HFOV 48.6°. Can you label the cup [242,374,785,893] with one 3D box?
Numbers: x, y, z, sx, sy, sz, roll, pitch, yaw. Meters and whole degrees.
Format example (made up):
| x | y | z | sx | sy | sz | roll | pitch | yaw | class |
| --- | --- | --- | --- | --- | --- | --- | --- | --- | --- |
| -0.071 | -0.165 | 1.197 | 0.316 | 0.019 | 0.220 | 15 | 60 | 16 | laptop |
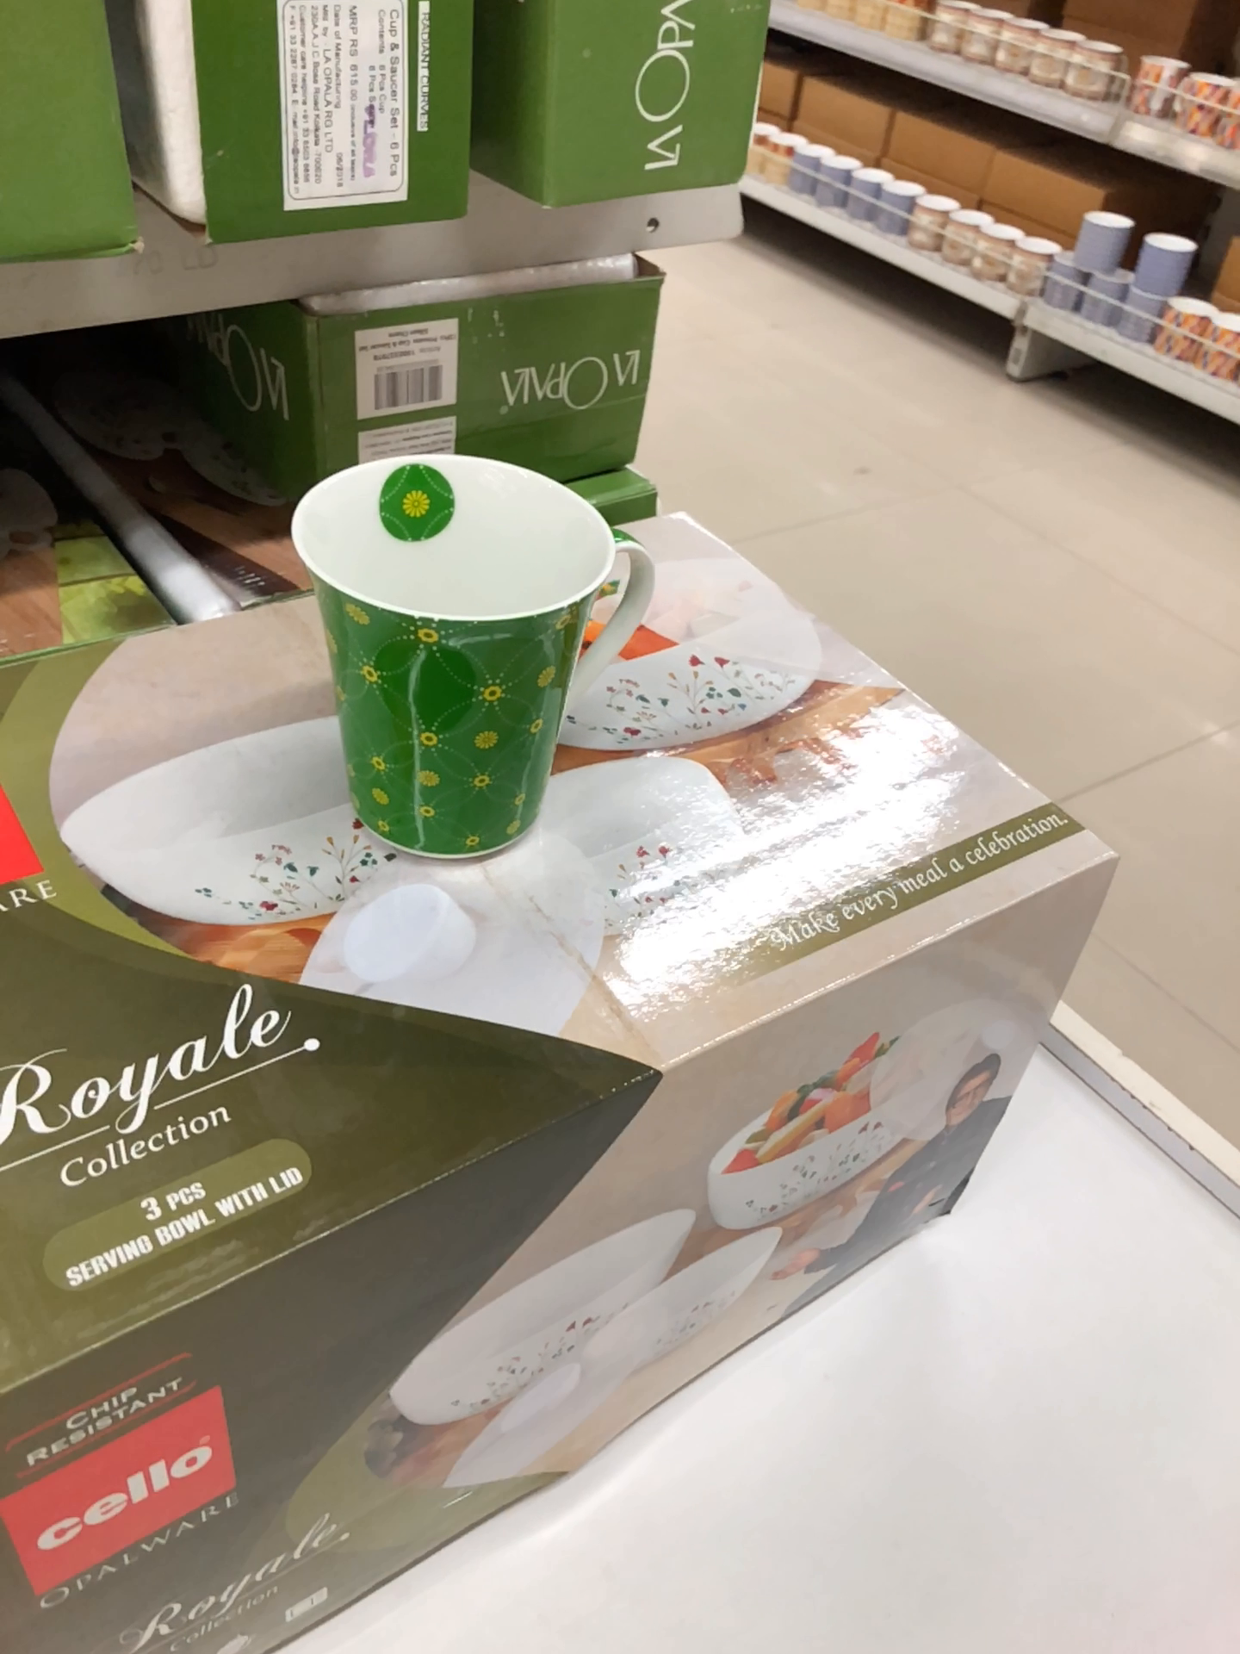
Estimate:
| x | y | z | sx | sy | sz | roll | pitch | yaw | class |
| --- | --- | --- | --- | --- | --- | --- | --- | --- | --- |
| -0.032 | -0.059 | 0.384 | 0.110 | 0.089 | 0.090 | -20 | 47 | -30 | cup |
